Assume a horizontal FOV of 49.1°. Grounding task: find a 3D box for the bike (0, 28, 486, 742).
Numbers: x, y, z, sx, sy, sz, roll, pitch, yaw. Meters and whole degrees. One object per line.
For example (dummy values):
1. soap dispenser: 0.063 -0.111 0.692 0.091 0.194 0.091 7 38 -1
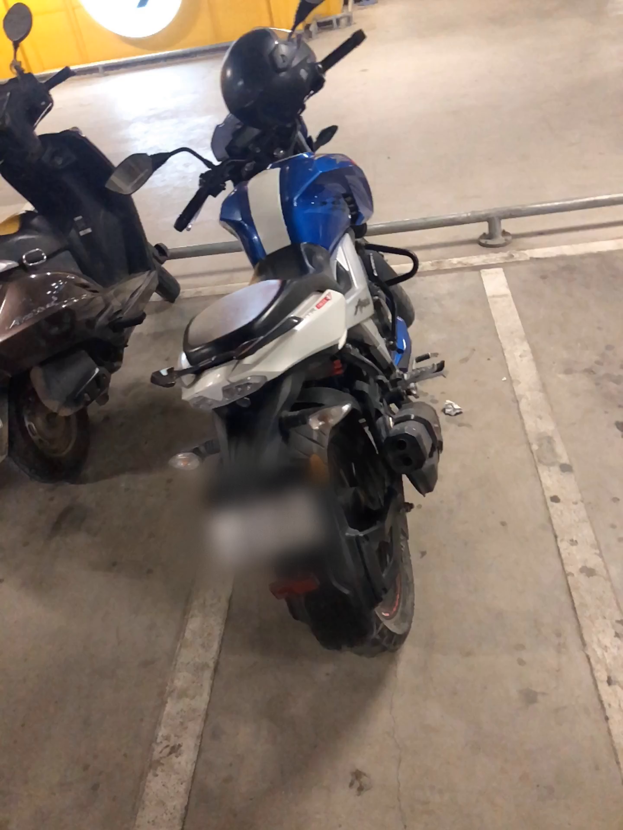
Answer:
1. bike: -0.144 -0.317 2.016 0.806 1.162 1.996 -8 35 4
